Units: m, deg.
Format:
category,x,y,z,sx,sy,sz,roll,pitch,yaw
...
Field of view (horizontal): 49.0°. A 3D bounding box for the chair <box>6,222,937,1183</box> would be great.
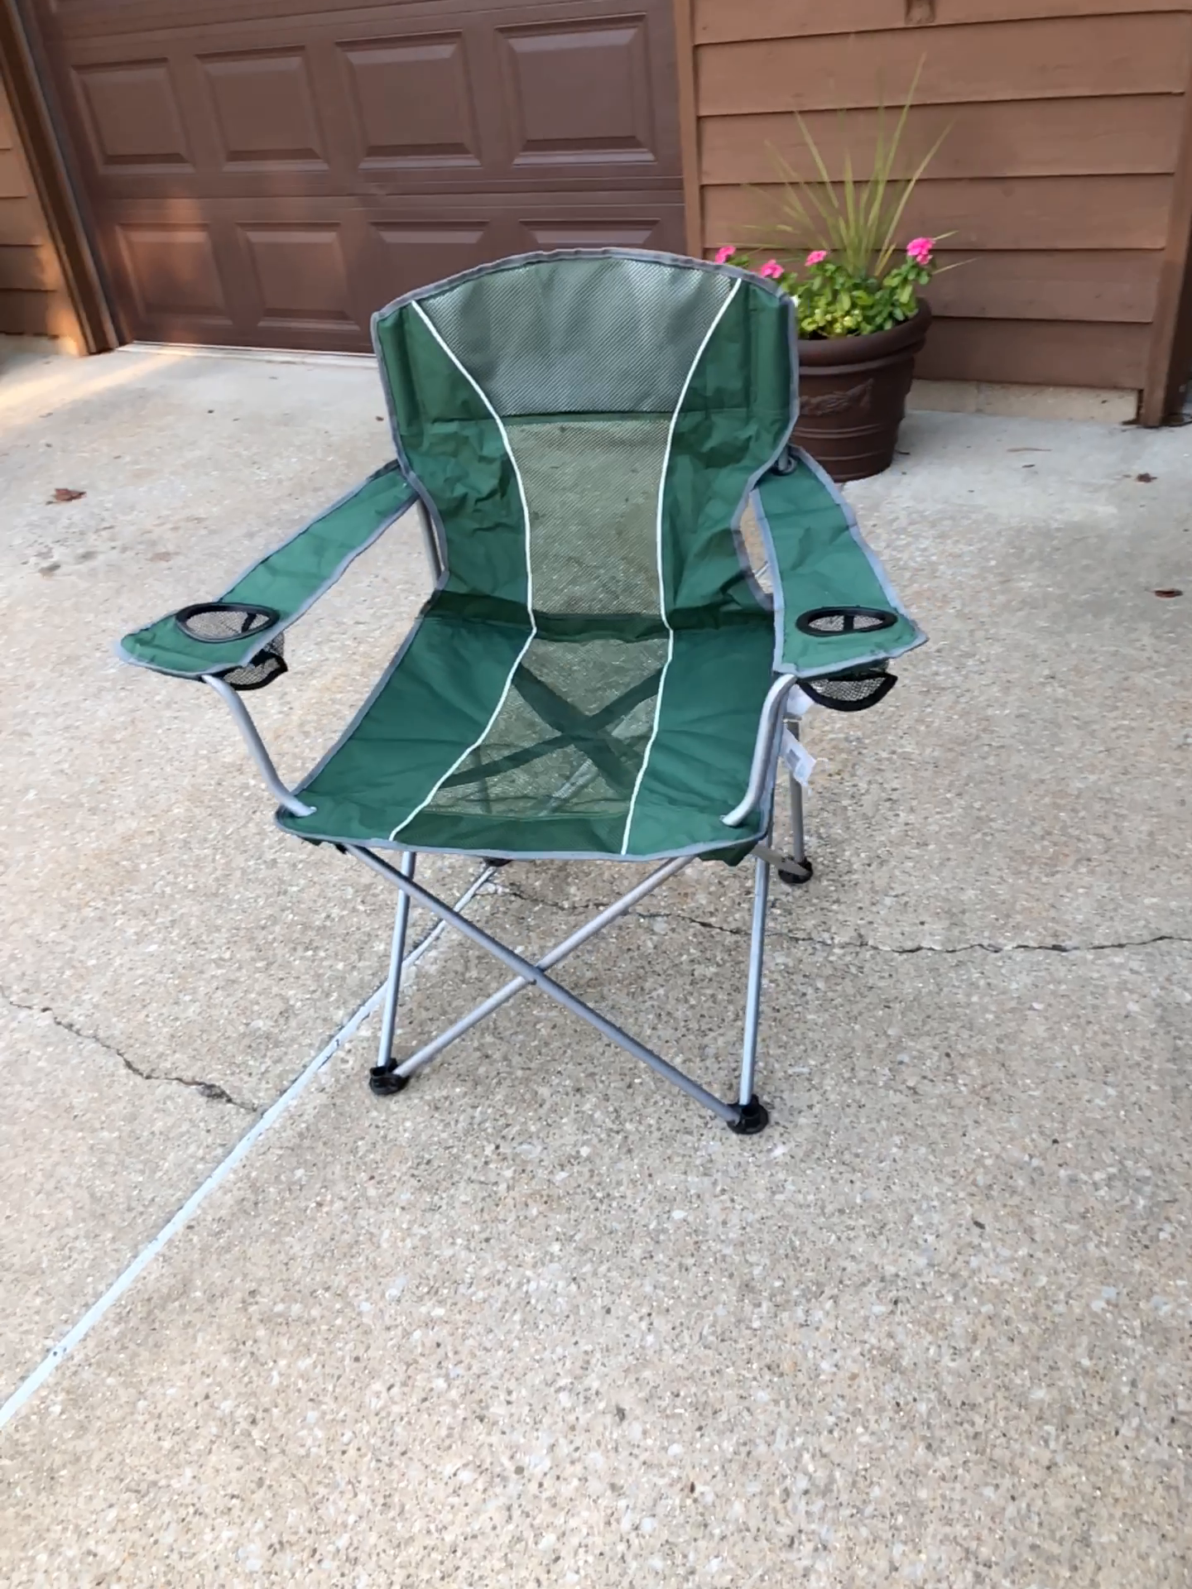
category,x,y,z,sx,sy,sz,roll,pitch,yaw
chair,-0.033,-0.134,1.619,0.820,0.907,0.642,3,34,16
